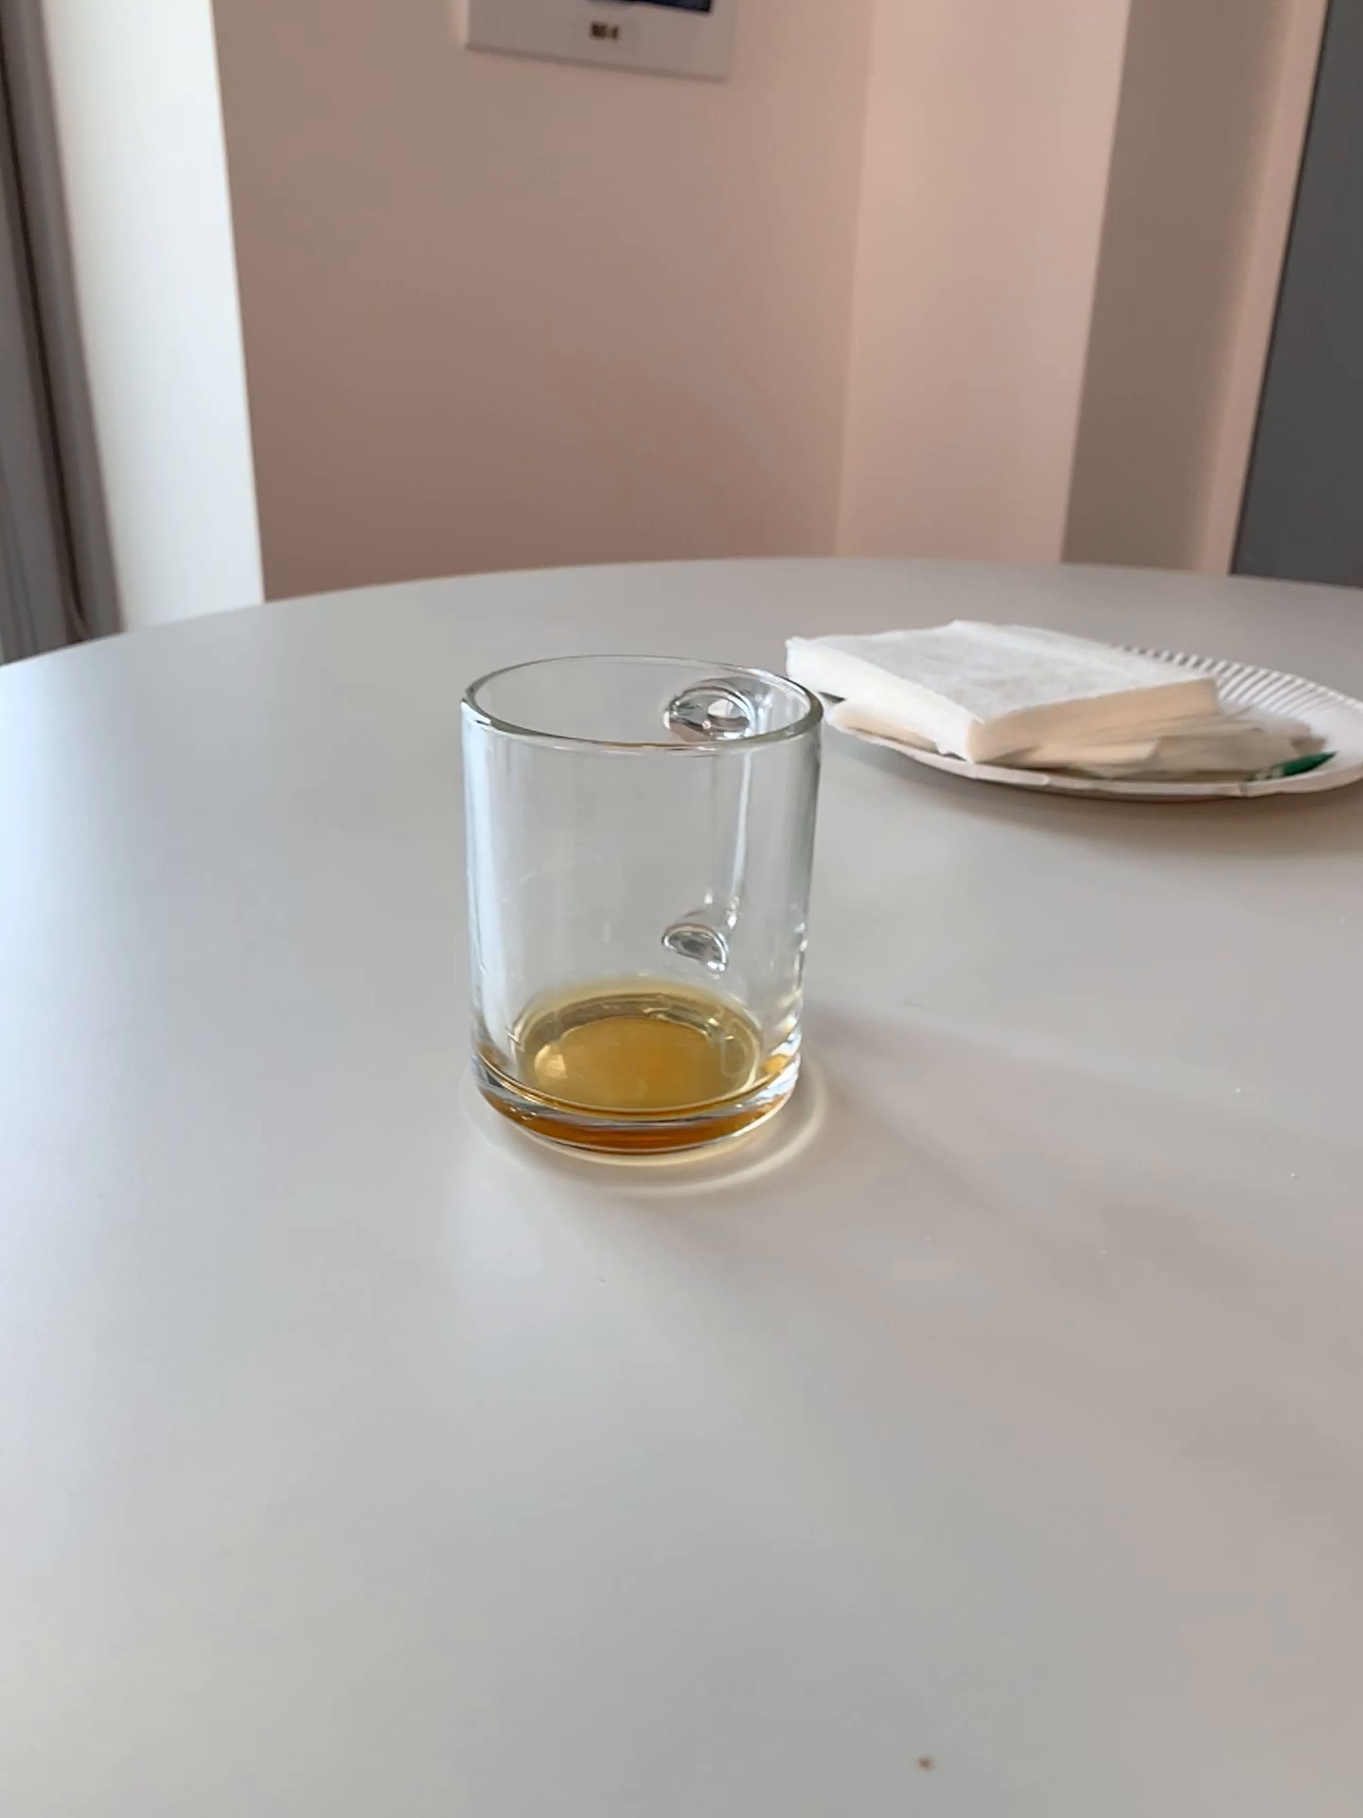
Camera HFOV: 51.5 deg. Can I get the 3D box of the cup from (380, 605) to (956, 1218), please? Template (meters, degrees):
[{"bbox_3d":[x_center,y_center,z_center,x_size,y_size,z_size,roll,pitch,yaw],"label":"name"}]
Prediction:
[{"bbox_3d":[0.001,-0.008,0.313,0.082,0.090,0.102,13,26,25],"label":"cup"}]
